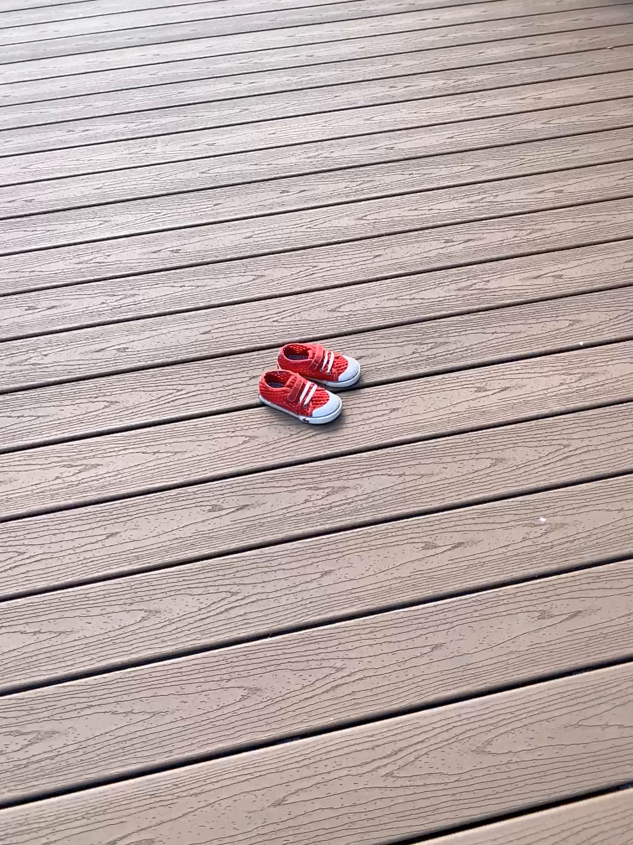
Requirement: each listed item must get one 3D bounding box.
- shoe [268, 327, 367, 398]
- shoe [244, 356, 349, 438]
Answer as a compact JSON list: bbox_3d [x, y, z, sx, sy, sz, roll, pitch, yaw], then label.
[{"bbox_3d":[0.002,-0.124,1.323,0.180,0.060,0.090,14,55,13],"label":"shoe"},{"bbox_3d":[-0.038,-0.052,1.264,0.180,0.060,0.090,21,56,18],"label":"shoe"}]
